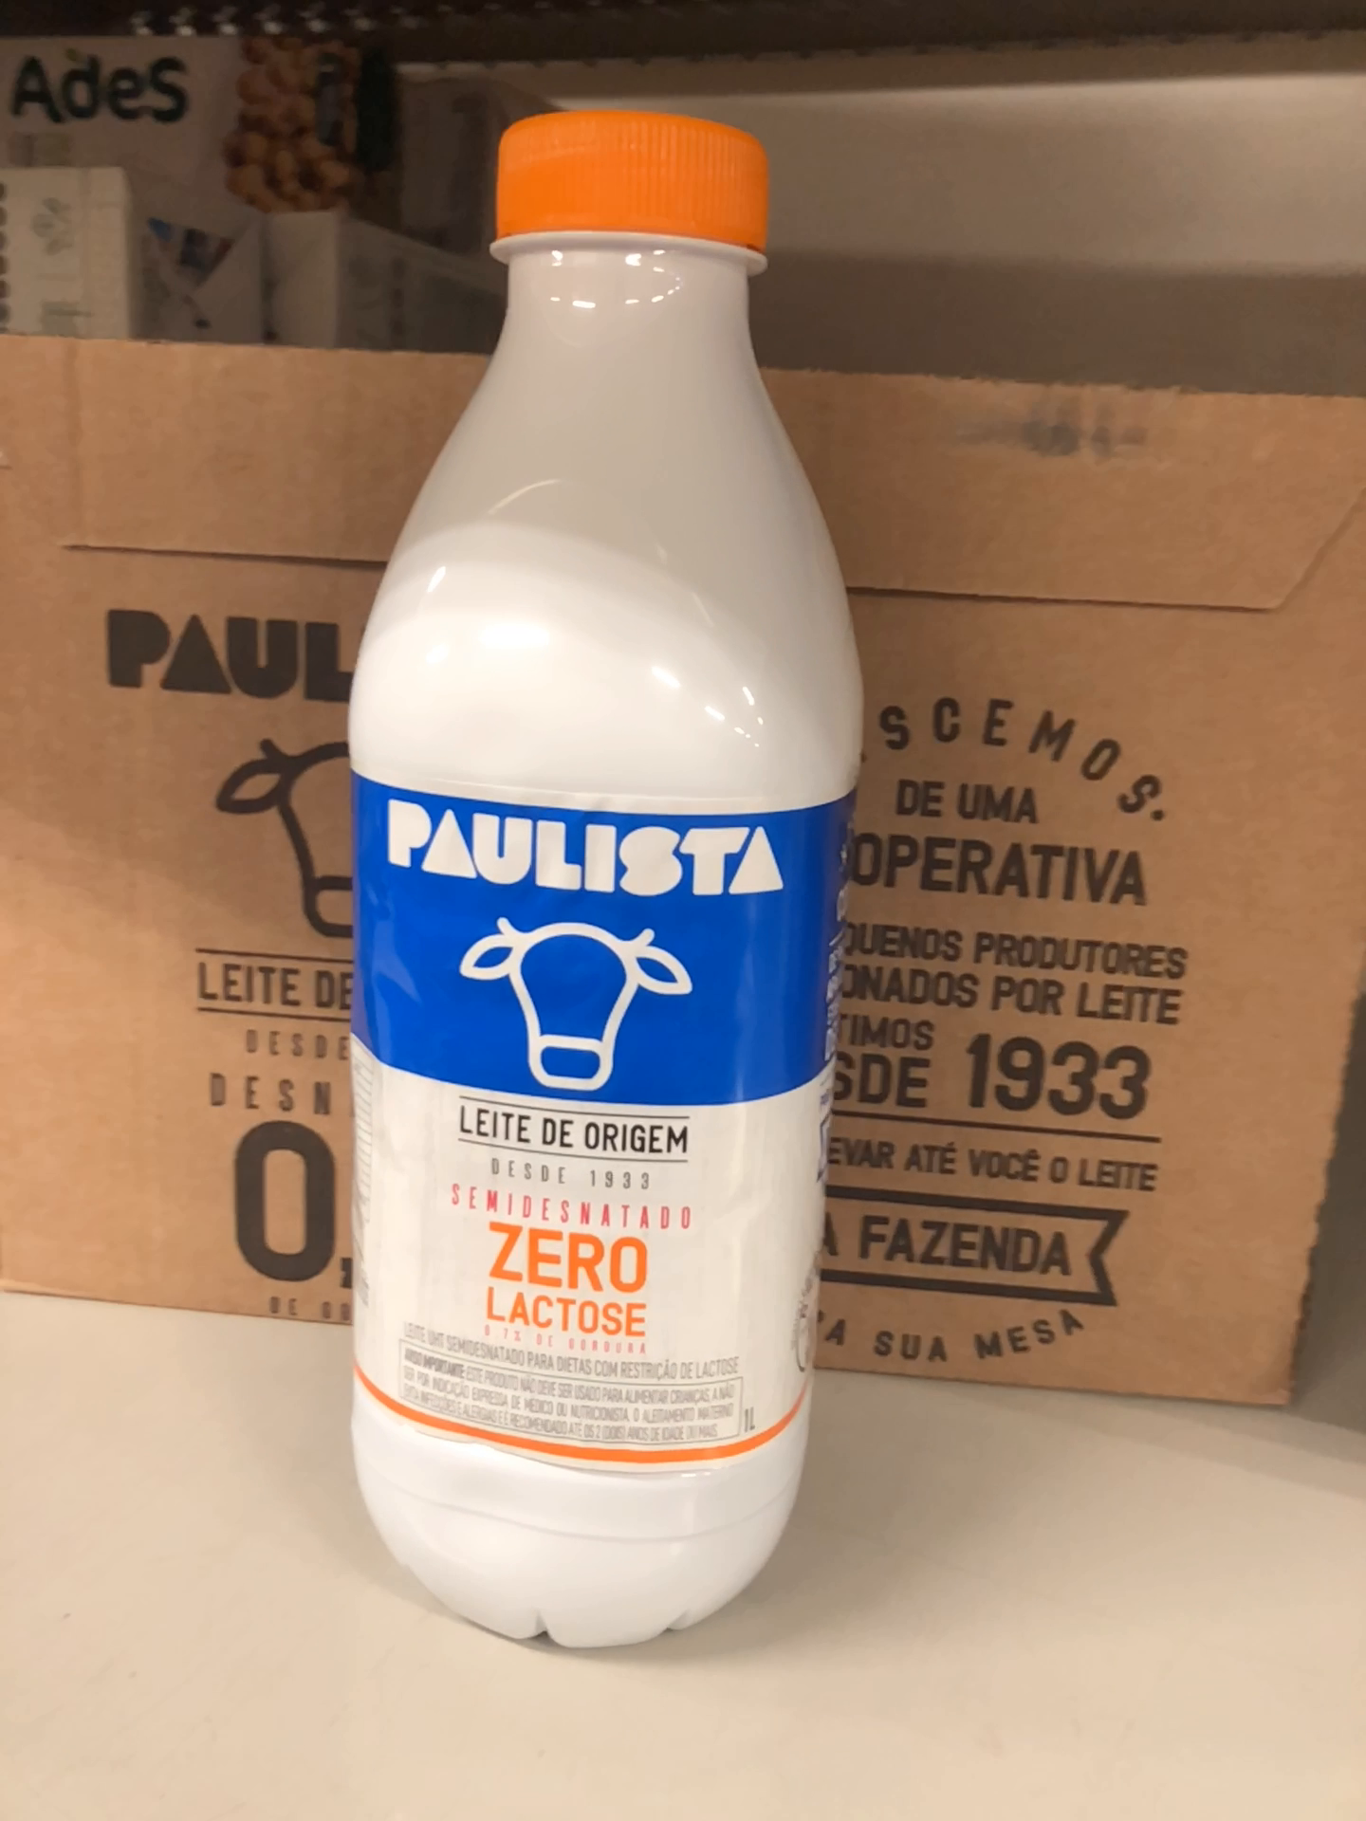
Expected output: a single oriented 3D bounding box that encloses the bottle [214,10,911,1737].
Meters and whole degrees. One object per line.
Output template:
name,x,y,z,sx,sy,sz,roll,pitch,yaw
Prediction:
bottle,-0.014,-0.002,0.241,0.080,0.229,0.080,2,15,-1
